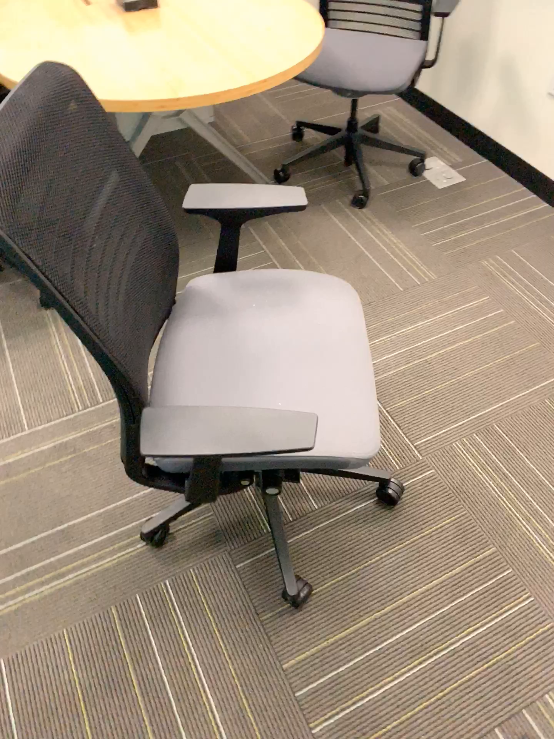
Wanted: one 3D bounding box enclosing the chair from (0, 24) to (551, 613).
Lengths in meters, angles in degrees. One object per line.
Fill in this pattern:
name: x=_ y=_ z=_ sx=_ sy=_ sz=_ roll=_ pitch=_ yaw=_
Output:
chair: x=-0.074 y=-0.018 z=1.131 sx=0.690 sy=0.995 sz=0.653 roll=1 pitch=50 yaw=2
